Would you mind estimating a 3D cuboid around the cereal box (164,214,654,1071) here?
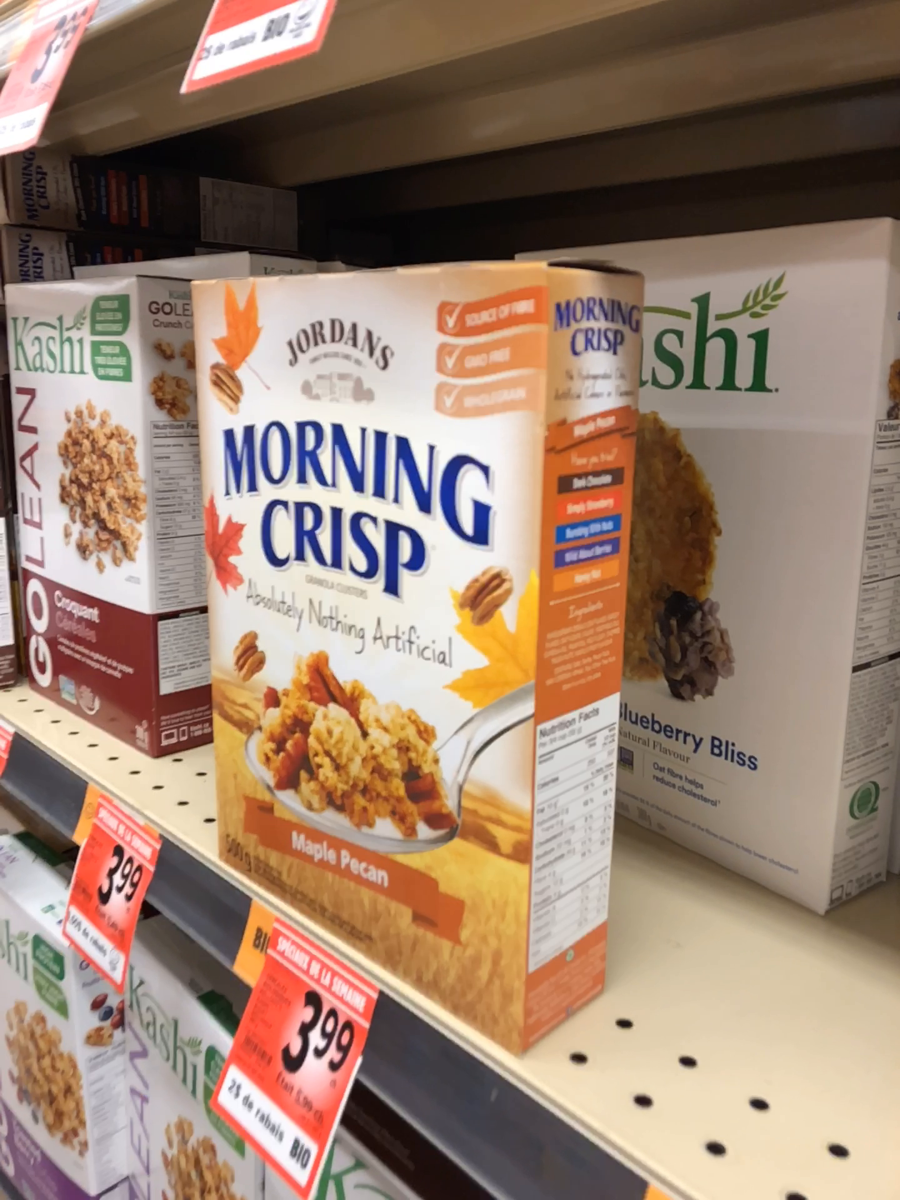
[{"bbox_3d":[-0.028,0.003,0.366,0.191,0.259,0.050,15,20,43],"label":"cereal box"}]
